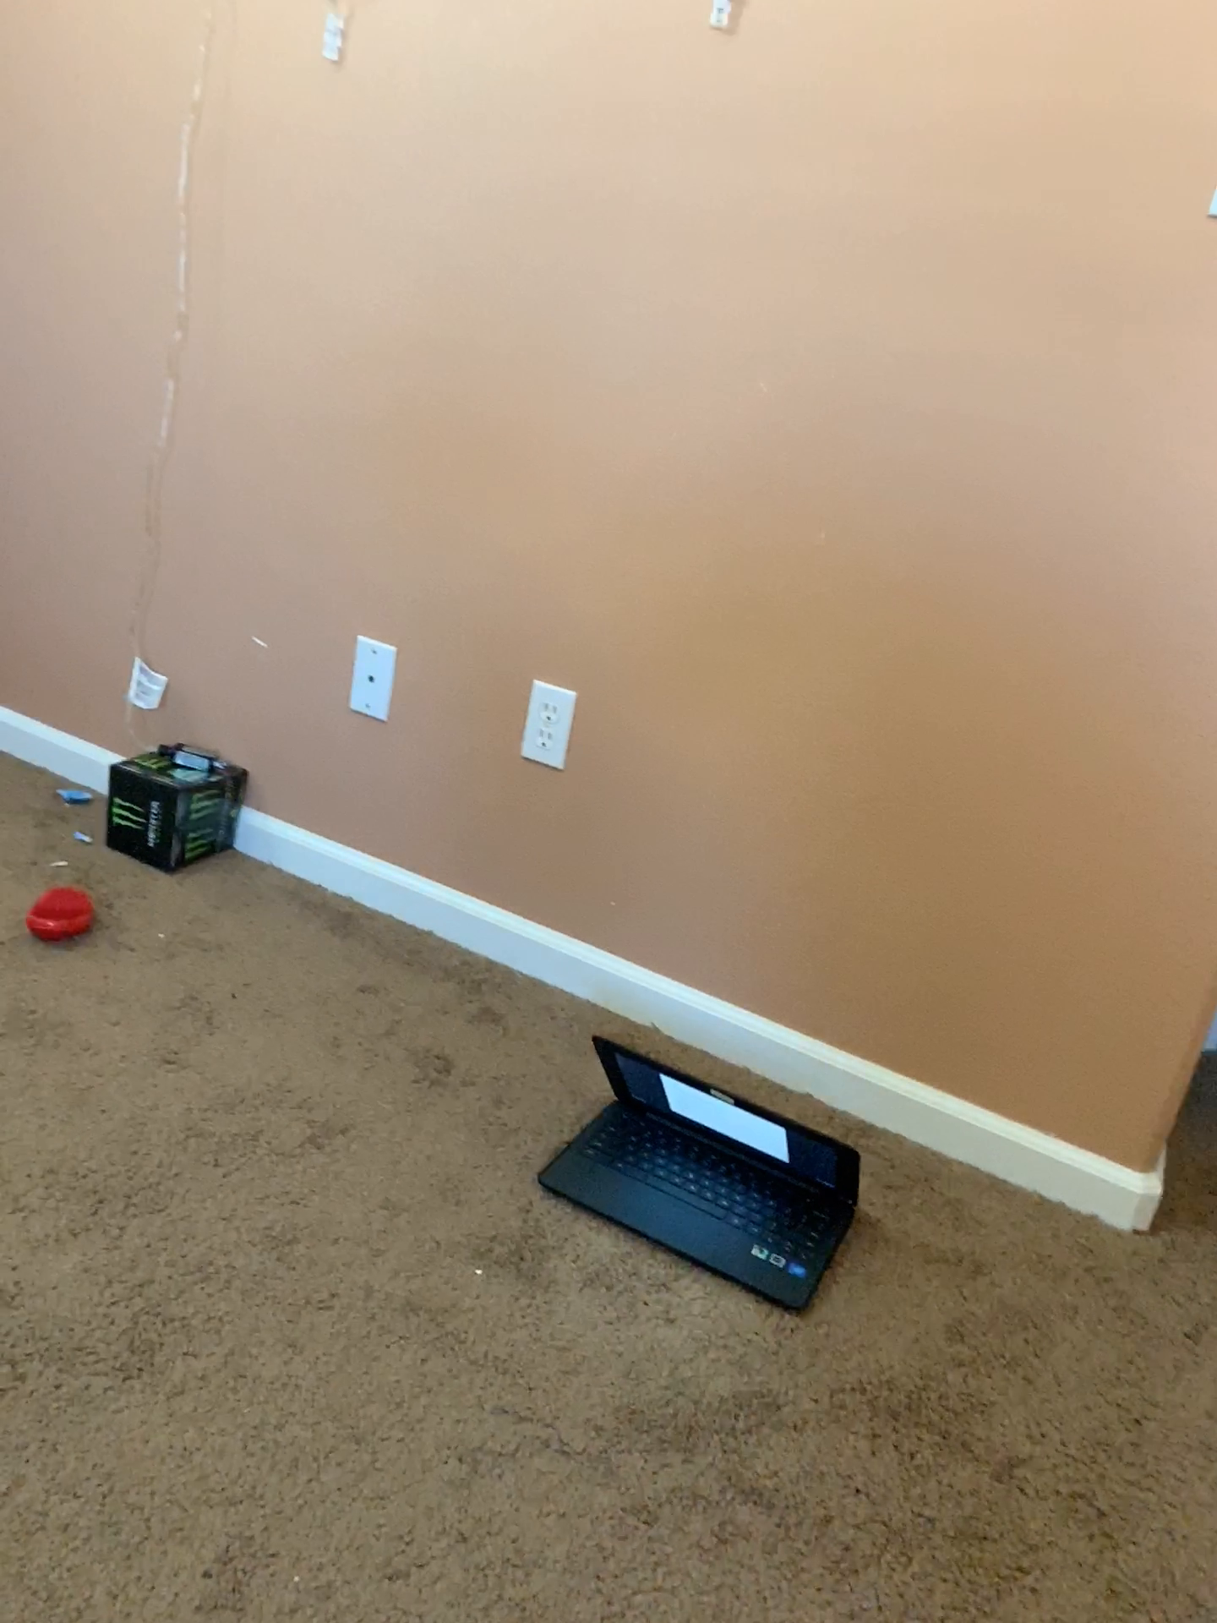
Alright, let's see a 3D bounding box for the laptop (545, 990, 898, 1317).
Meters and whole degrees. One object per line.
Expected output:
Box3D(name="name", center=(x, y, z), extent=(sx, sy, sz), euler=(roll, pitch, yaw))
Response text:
Box3D(name="laptop", center=(0.117, 0.336, 1.274), extent=(0.292, 0.140, 0.192), euler=(20, 21, 21))
